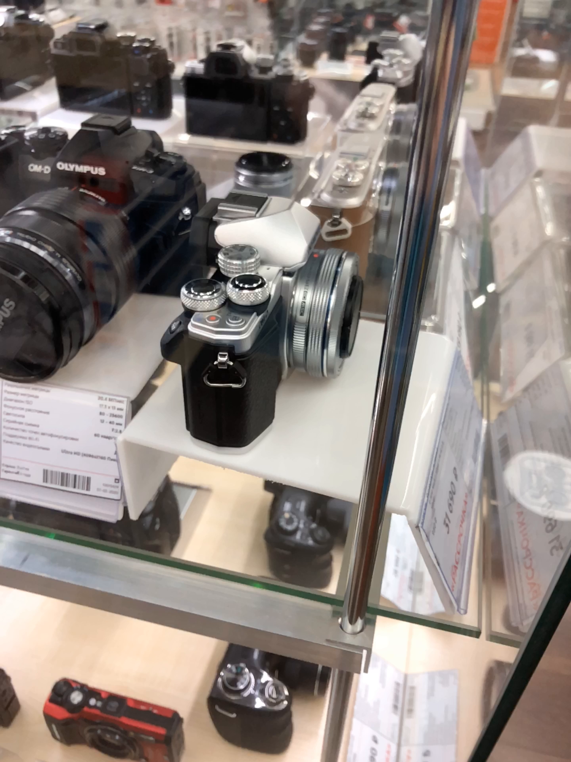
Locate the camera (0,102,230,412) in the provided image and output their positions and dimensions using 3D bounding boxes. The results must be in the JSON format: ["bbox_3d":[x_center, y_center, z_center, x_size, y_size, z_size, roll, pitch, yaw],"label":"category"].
[{"bbox_3d":[-0.098,-0.070,0.316,0.102,0.087,0.137,11,38,10],"label":"camera"}]

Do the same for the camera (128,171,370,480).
[{"bbox_3d":[-0.009,-0.032,0.291,0.071,0.080,0.121,10,38,9],"label":"camera"}]

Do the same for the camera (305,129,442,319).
[{"bbox_3d":[0.060,-0.107,0.412,0.065,0.062,0.140,10,38,9],"label":"camera"}]
